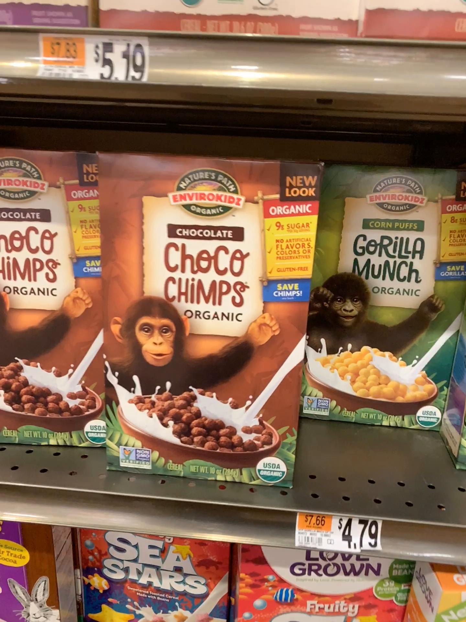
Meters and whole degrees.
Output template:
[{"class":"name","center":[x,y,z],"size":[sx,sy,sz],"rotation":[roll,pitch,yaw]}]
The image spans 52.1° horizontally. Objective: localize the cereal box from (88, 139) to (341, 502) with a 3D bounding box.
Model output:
[{"class":"cereal box","center":[-0.018,0.010,0.383],"size":[0.170,0.269,0.060],"rotation":[4,16,4]}]
